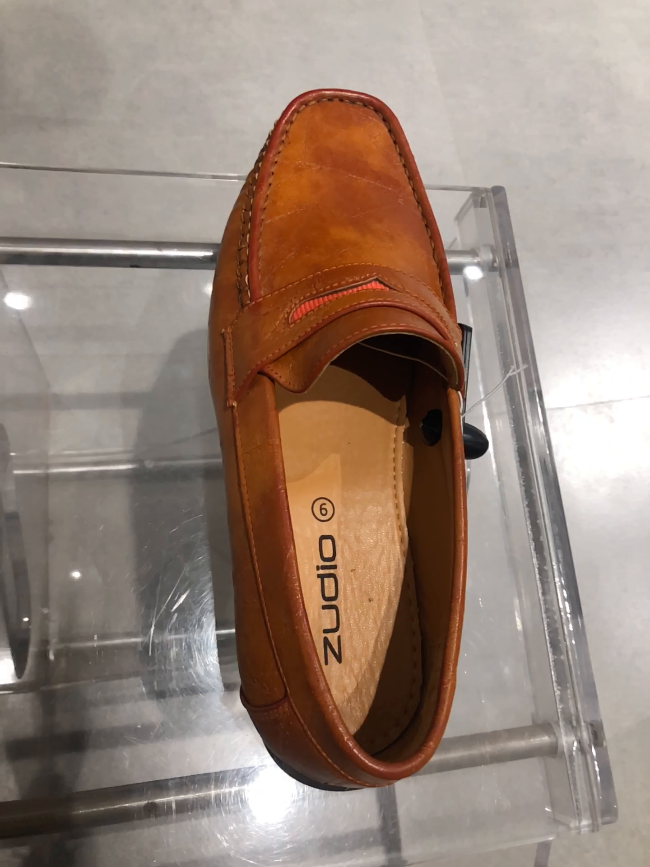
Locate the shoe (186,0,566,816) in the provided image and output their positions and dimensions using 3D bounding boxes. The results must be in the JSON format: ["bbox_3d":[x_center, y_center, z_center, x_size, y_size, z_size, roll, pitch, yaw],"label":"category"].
[{"bbox_3d":[0.002,-0.024,0.287,0.110,0.090,0.290,0,74,-12],"label":"shoe"}]
